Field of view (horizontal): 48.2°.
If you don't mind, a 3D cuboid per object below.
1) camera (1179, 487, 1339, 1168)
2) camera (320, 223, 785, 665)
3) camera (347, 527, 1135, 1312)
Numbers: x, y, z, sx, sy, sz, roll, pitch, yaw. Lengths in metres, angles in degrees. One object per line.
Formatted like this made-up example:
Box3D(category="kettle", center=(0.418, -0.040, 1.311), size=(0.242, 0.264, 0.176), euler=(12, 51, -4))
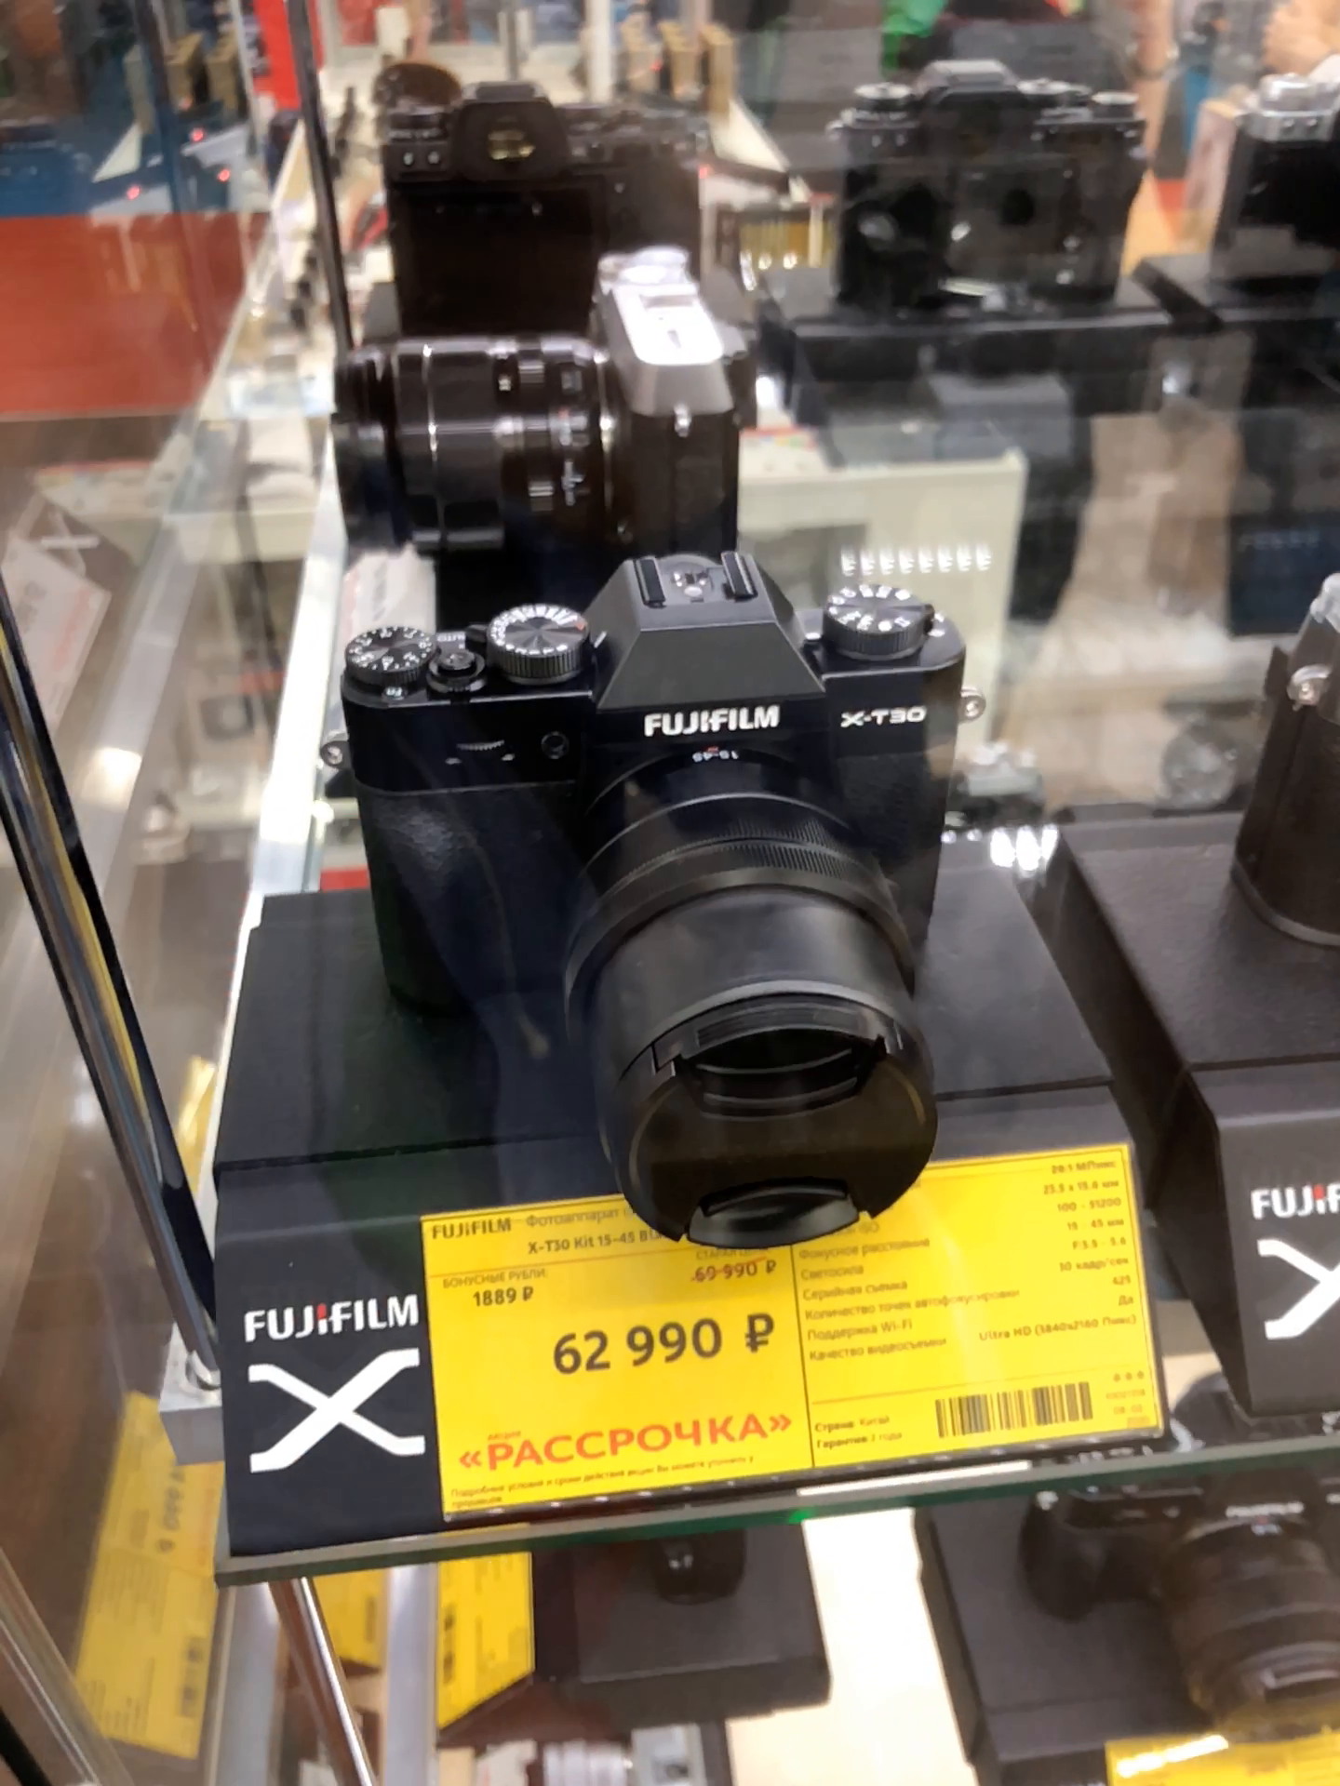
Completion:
Box3D(category="camera", center=(0.182, -0.018, 0.291), size=(0.114, 0.078, 0.109), euler=(-3, 37, -4))
Box3D(category="camera", center=(-0.036, -0.140, 0.457), size=(0.120, 0.089, 0.114), euler=(-4, 38, -6))
Box3D(category="camera", center=(0.004, -0.001, 0.284), size=(0.114, 0.089, 0.111), euler=(-5, 38, -7))
